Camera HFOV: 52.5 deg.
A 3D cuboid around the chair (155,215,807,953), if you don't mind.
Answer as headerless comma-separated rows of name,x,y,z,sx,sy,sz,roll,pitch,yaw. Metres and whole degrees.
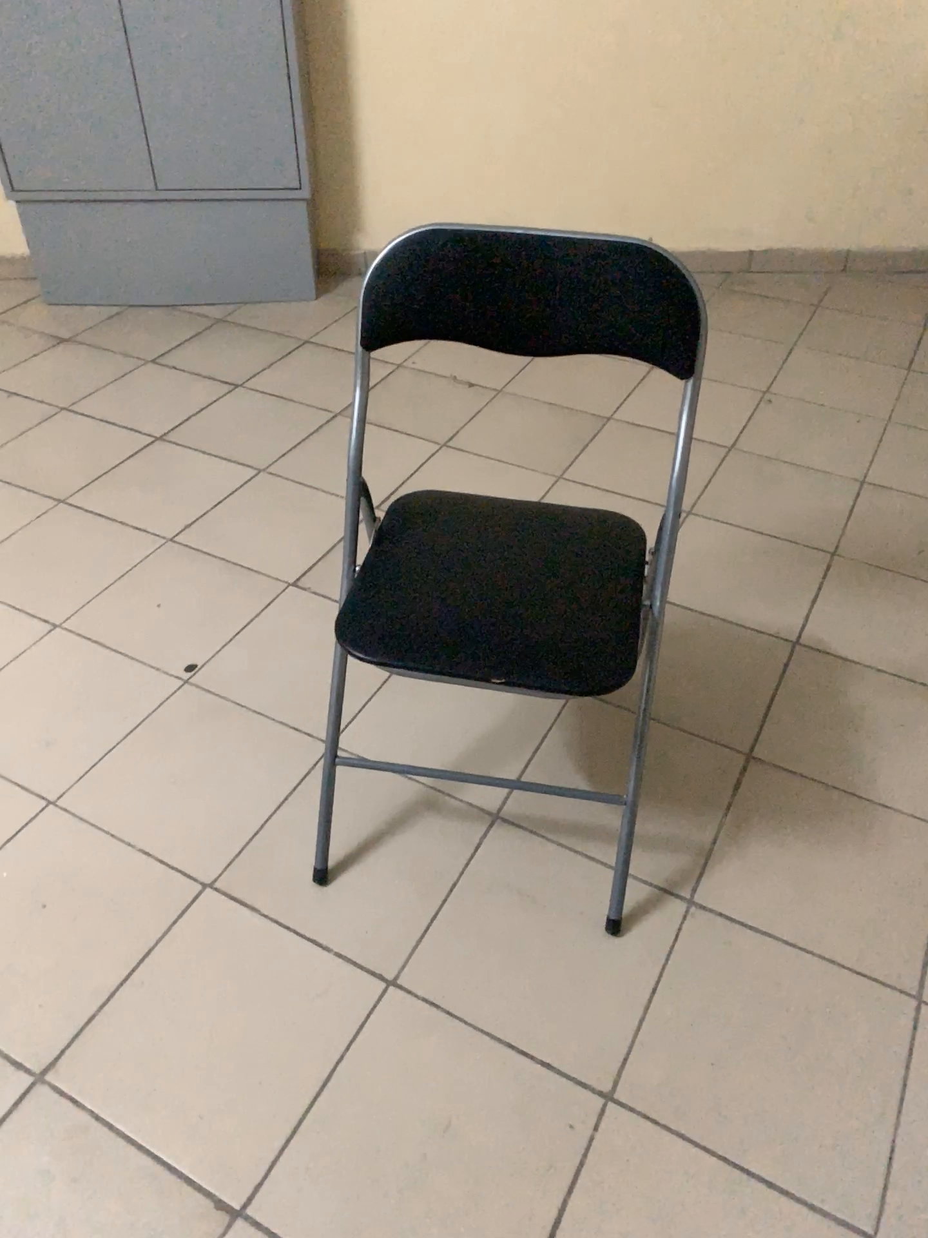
chair,0.058,-0.055,1.253,0.570,0.727,0.563,7,41,9
